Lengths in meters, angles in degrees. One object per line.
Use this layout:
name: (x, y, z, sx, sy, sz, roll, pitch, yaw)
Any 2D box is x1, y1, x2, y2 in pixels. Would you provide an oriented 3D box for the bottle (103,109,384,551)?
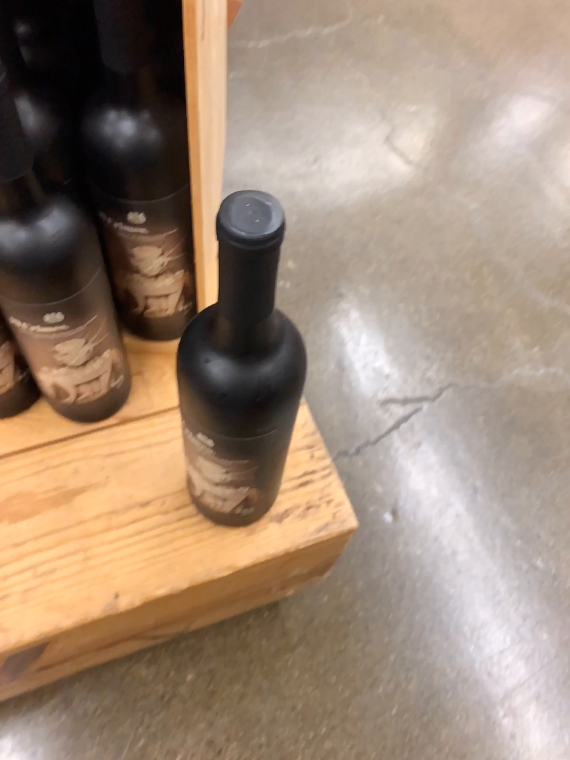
bottle: (-0.028, 0.006, 0.375, 0.080, 0.299, 0.080, 3, 59, -5)
